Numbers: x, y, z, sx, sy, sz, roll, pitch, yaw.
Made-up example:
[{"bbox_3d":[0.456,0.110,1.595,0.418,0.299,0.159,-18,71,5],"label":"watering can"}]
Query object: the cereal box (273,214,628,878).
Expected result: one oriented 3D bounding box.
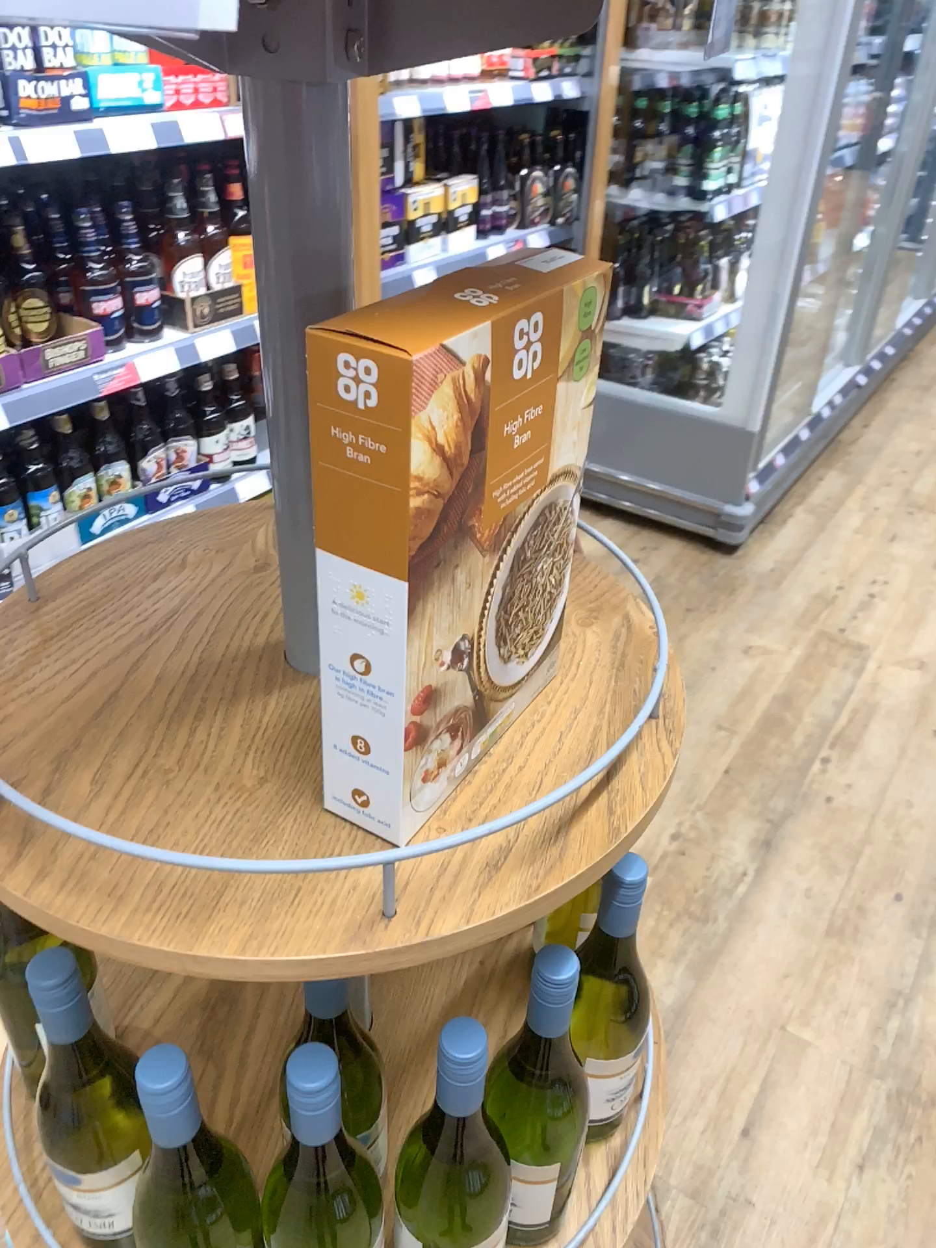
[{"bbox_3d":[-0.003,-0.044,0.493,0.060,0.277,0.202,20,37,23],"label":"cereal box"}]
